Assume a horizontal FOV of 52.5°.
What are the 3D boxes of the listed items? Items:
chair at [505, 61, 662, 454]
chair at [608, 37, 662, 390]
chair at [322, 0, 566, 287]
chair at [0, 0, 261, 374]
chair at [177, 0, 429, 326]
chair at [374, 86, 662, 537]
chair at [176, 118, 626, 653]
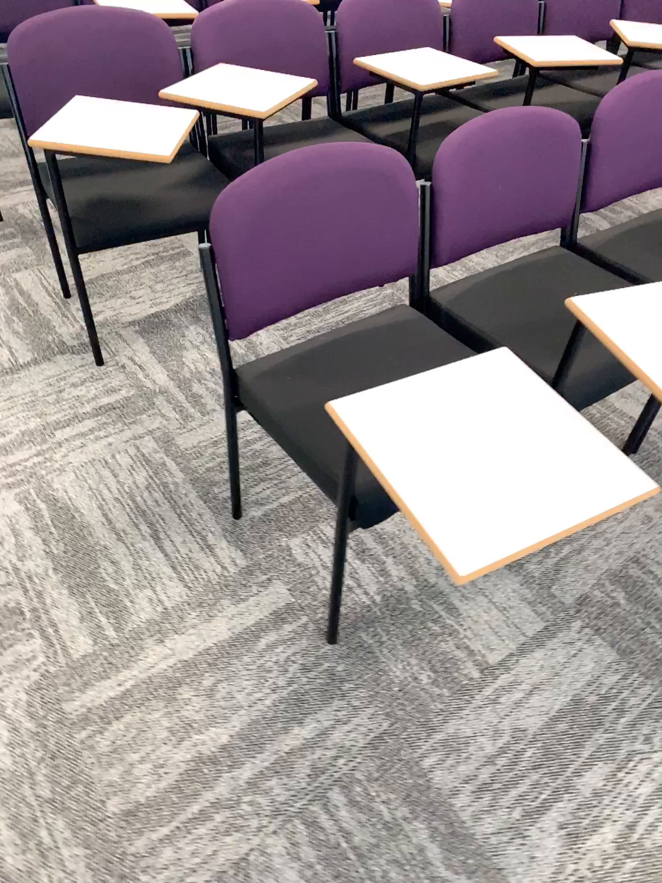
[{"bbox_3d":[0.918,-0.489,1.813,0.517,0.792,0.483,-25,51,-27],"label":"chair"},{"bbox_3d":[1.344,-0.689,2.043,0.517,0.792,0.504,-25,51,-27],"label":"chair"},{"bbox_3d":[0.333,-1.070,2.334,0.517,0.802,0.504,-21,50,-24],"label":"chair"},{"bbox_3d":[-0.551,-0.721,1.917,0.517,0.802,0.504,-20,49,-23],"label":"chair"},{"bbox_3d":[-0.107,-0.891,2.132,0.517,0.782,0.504,-21,50,-24],"label":"chair"},{"bbox_3d":[0.494,-0.299,1.580,0.517,0.792,0.493,-25,51,-27],"label":"chair"},{"bbox_3d":[0.081,-0.104,1.346,0.517,0.802,0.504,-25,51,-27],"label":"chair"}]
